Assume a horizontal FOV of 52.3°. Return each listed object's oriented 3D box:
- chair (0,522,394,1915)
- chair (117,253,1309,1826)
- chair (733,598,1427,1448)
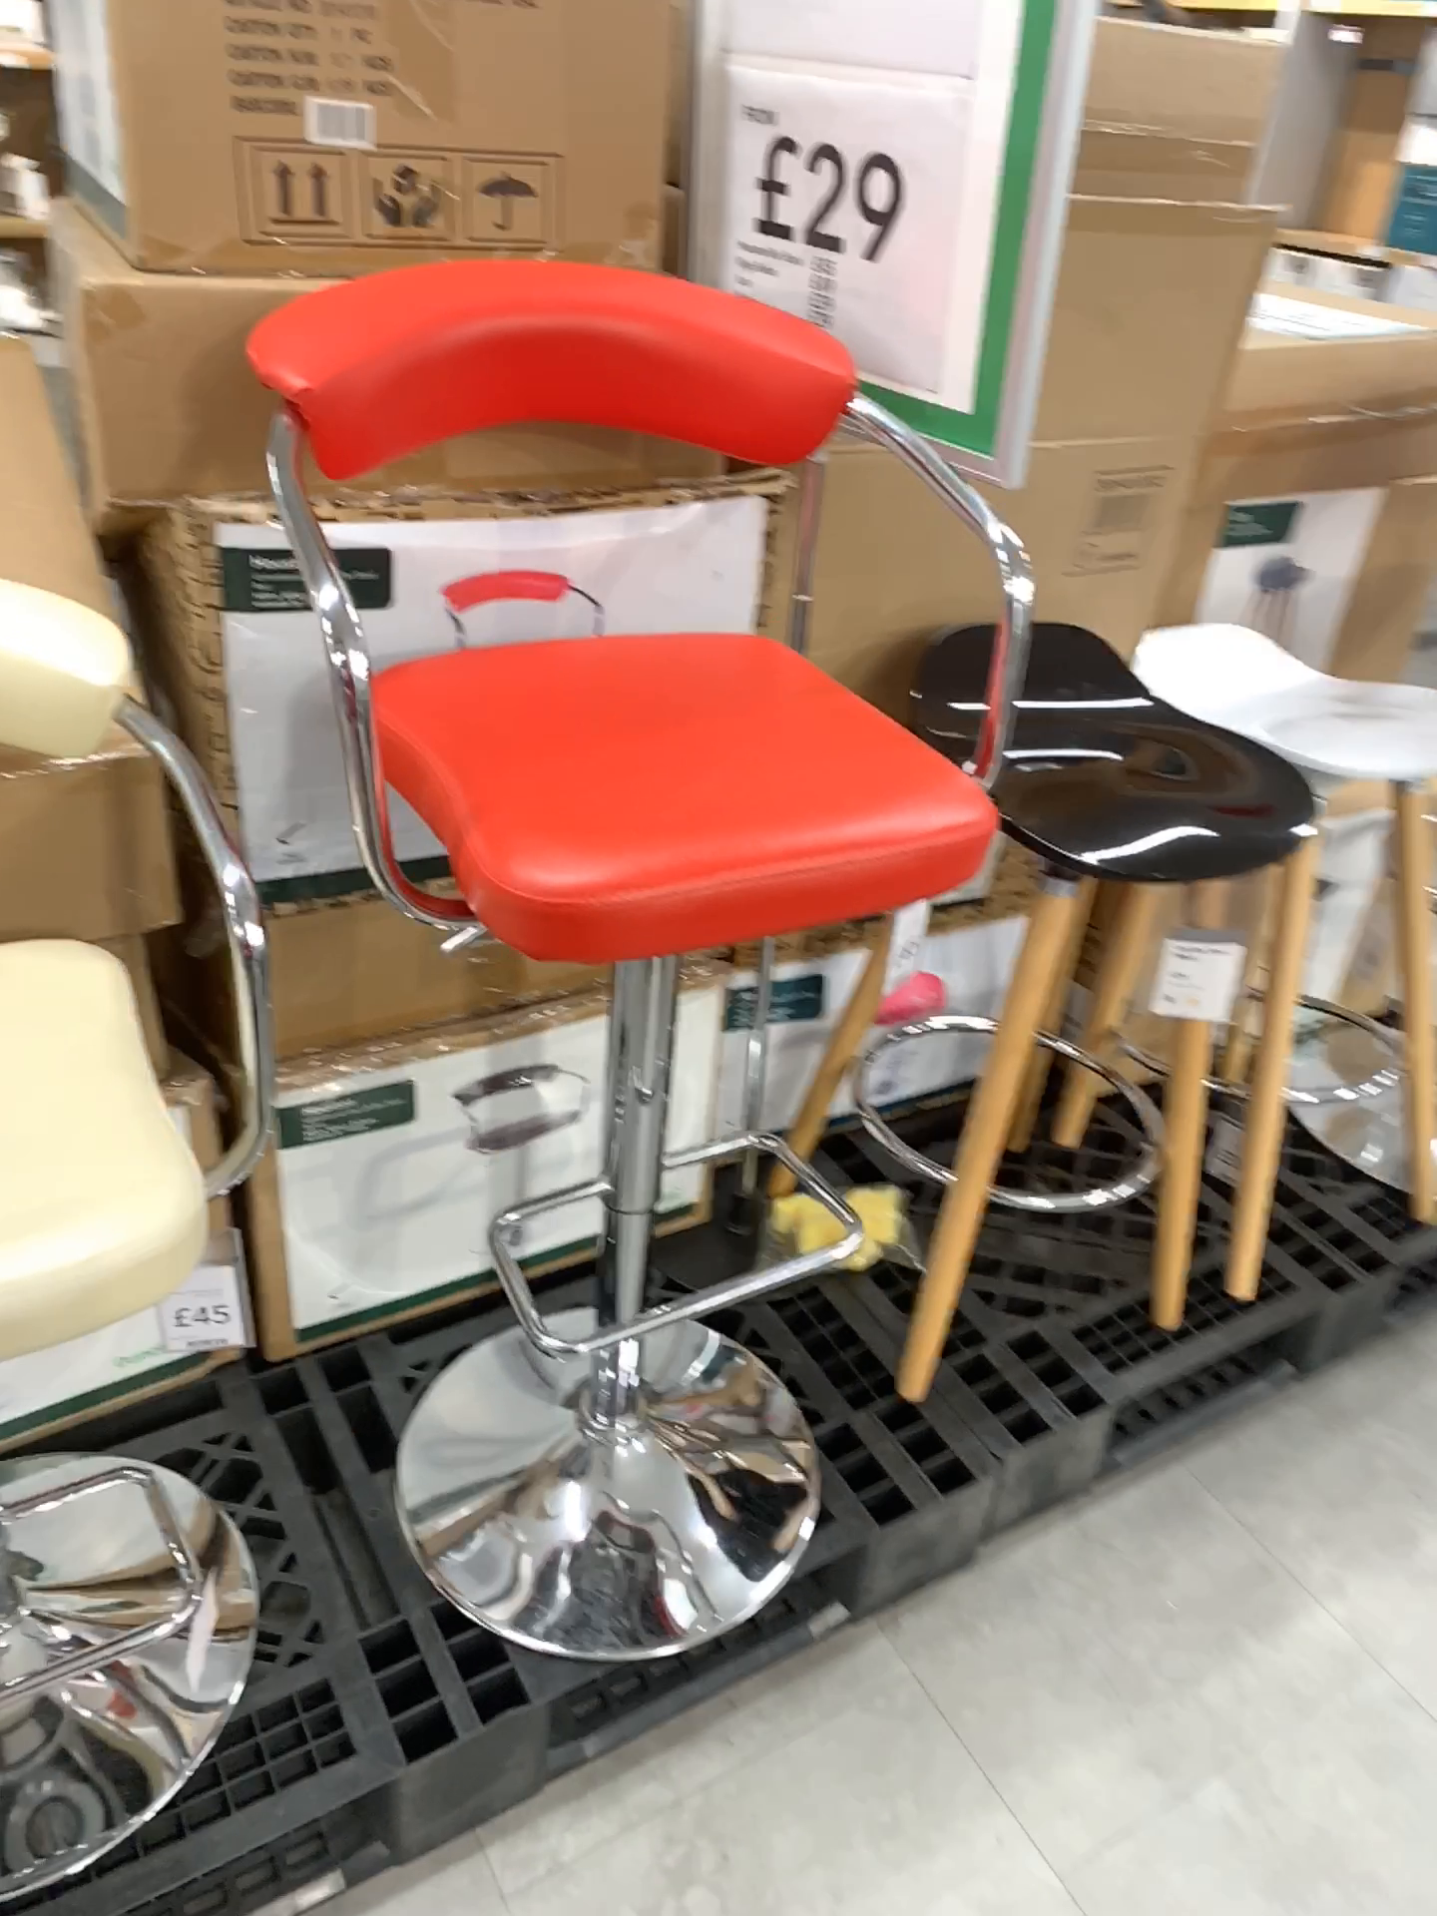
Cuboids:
[{"bbox_3d":[-0.555,0.207,0.994,0.496,0.838,0.462,-14,36,-29],"label":"chair"},{"bbox_3d":[-0.067,0.032,1.136,0.526,0.977,0.532,-14,36,-29],"label":"chair"},{"bbox_3d":[0.325,0.051,1.534,0.426,0.710,0.391,-13,35,-27],"label":"chair"}]
